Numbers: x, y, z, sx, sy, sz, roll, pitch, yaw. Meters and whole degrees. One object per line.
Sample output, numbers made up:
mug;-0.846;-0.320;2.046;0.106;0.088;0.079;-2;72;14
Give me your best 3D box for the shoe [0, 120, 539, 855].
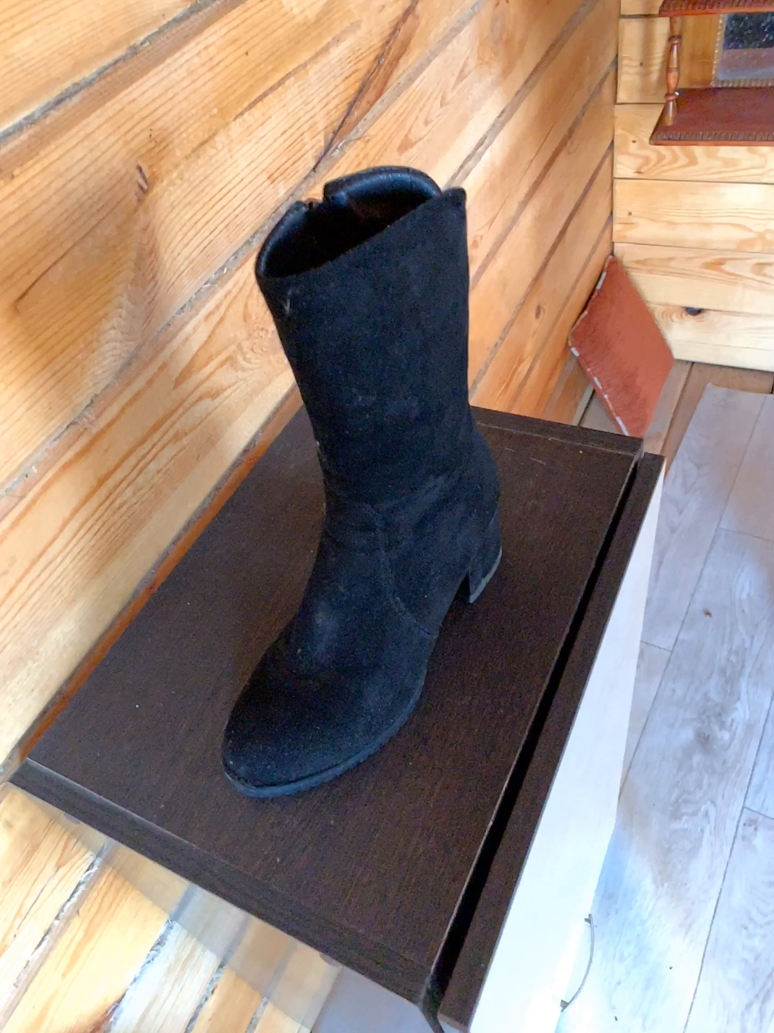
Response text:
shoe;-0.026;-0.008;0.398;0.100;0.268;0.233;20;55;28
